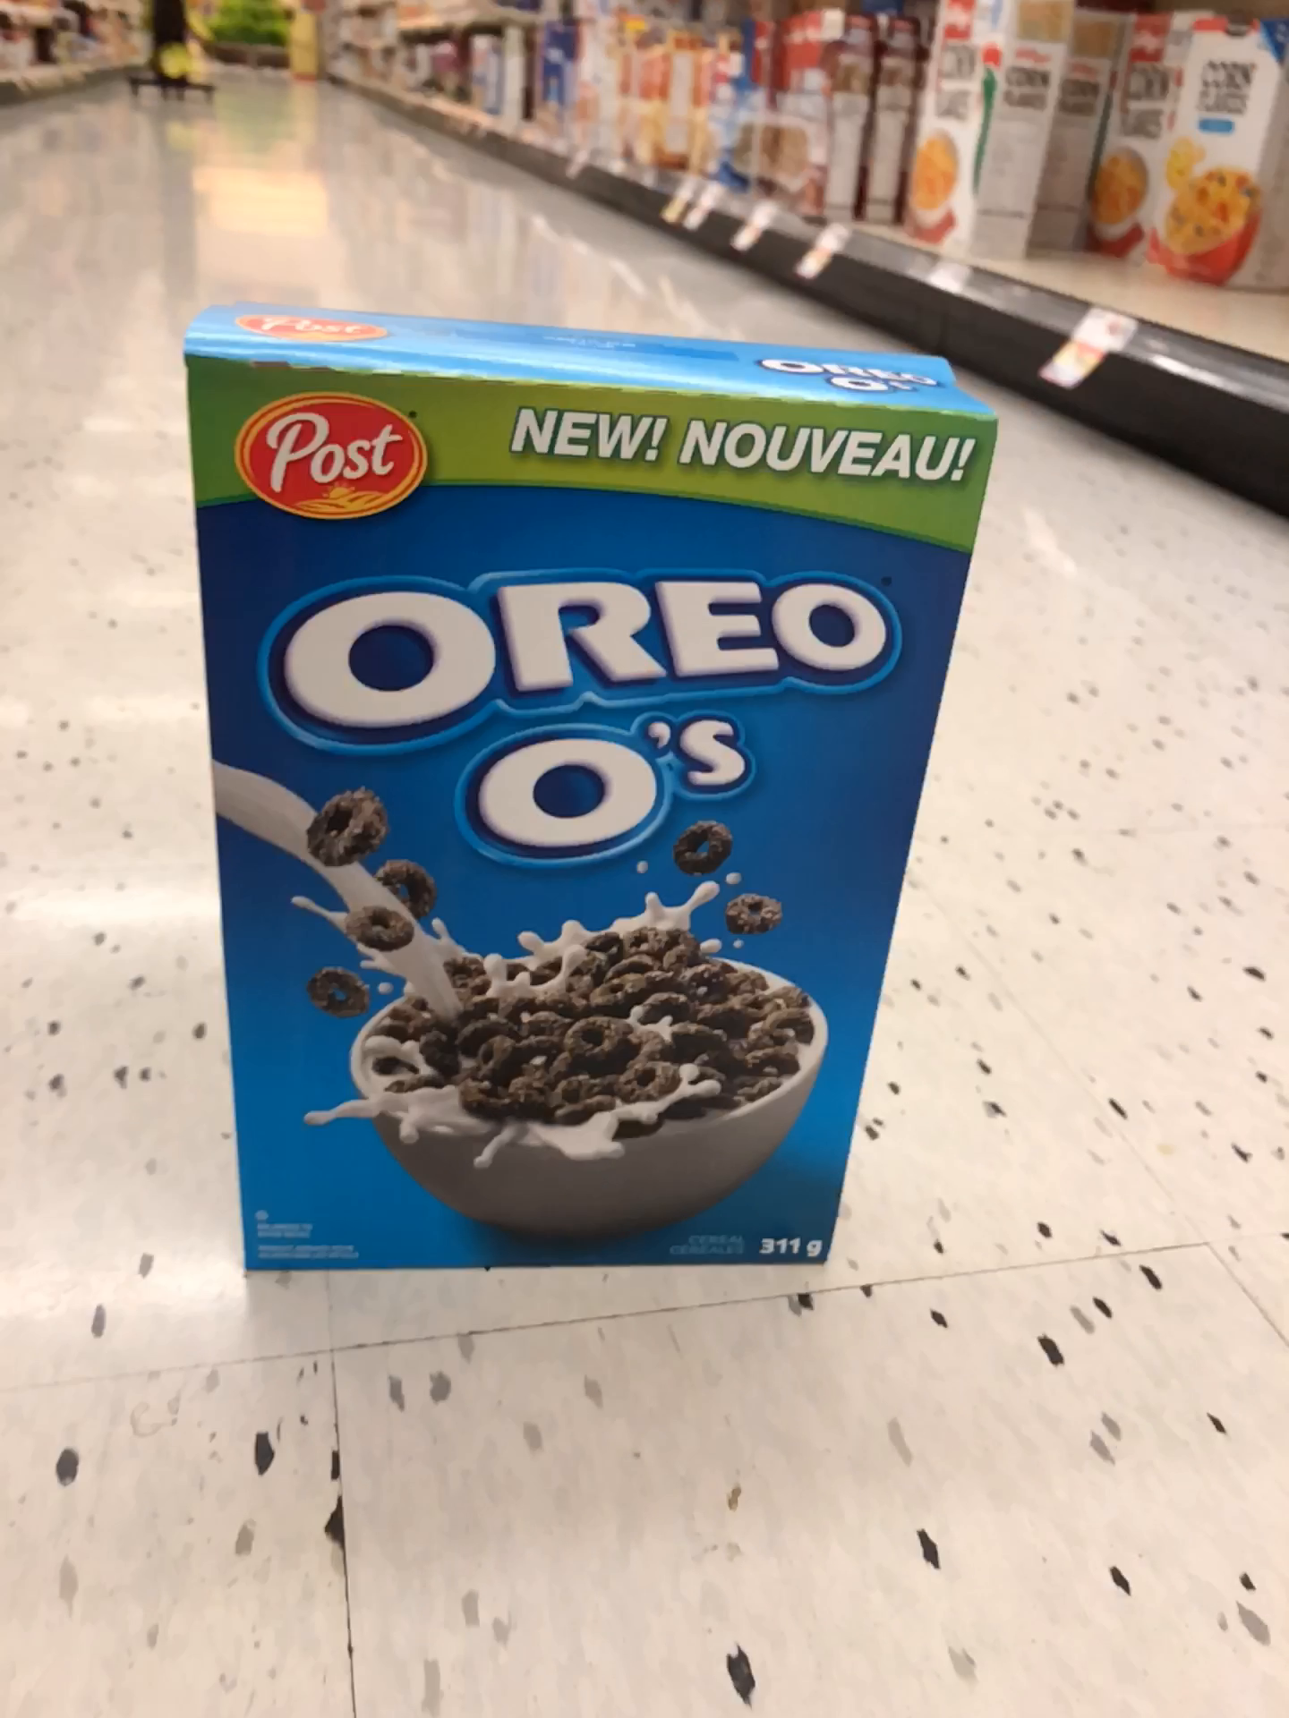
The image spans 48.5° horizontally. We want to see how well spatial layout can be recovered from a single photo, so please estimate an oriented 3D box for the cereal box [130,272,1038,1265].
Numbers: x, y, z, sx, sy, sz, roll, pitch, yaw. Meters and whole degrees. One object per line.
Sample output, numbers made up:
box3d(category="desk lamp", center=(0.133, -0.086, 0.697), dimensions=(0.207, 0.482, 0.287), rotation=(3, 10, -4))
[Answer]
box3d(category="cereal box", center=(-0.024, -0.009, 0.402), dimensions=(0.200, 0.268, 0.060), rotation=(2, 28, -8))
